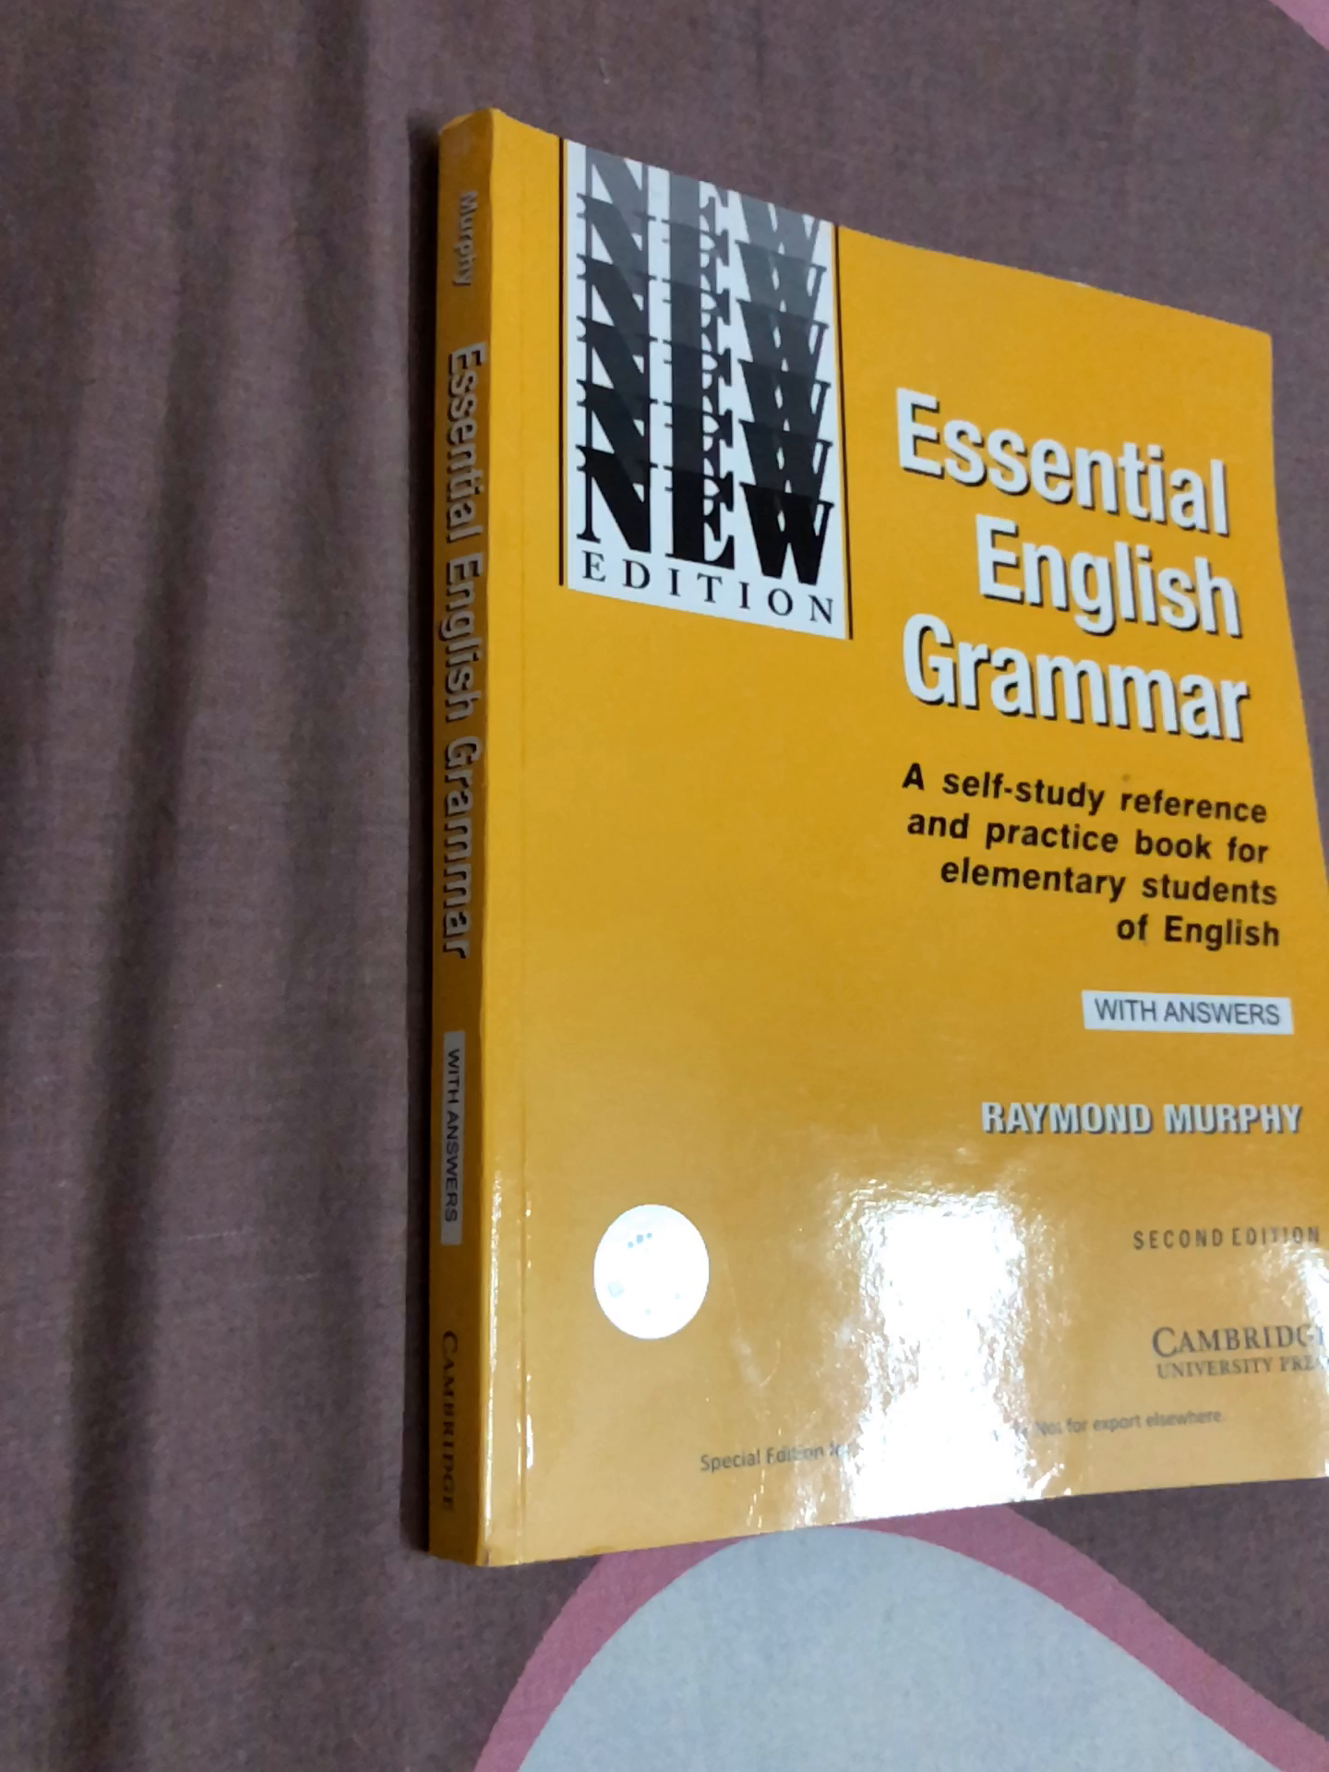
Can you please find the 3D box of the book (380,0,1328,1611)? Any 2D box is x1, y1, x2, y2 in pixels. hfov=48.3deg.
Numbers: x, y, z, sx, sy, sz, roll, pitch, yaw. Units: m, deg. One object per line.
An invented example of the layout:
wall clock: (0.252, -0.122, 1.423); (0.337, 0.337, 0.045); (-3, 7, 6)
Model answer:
book: (0.049, -0.017, 0.276); (0.191, 0.040, 0.250); (5, 76, -25)
